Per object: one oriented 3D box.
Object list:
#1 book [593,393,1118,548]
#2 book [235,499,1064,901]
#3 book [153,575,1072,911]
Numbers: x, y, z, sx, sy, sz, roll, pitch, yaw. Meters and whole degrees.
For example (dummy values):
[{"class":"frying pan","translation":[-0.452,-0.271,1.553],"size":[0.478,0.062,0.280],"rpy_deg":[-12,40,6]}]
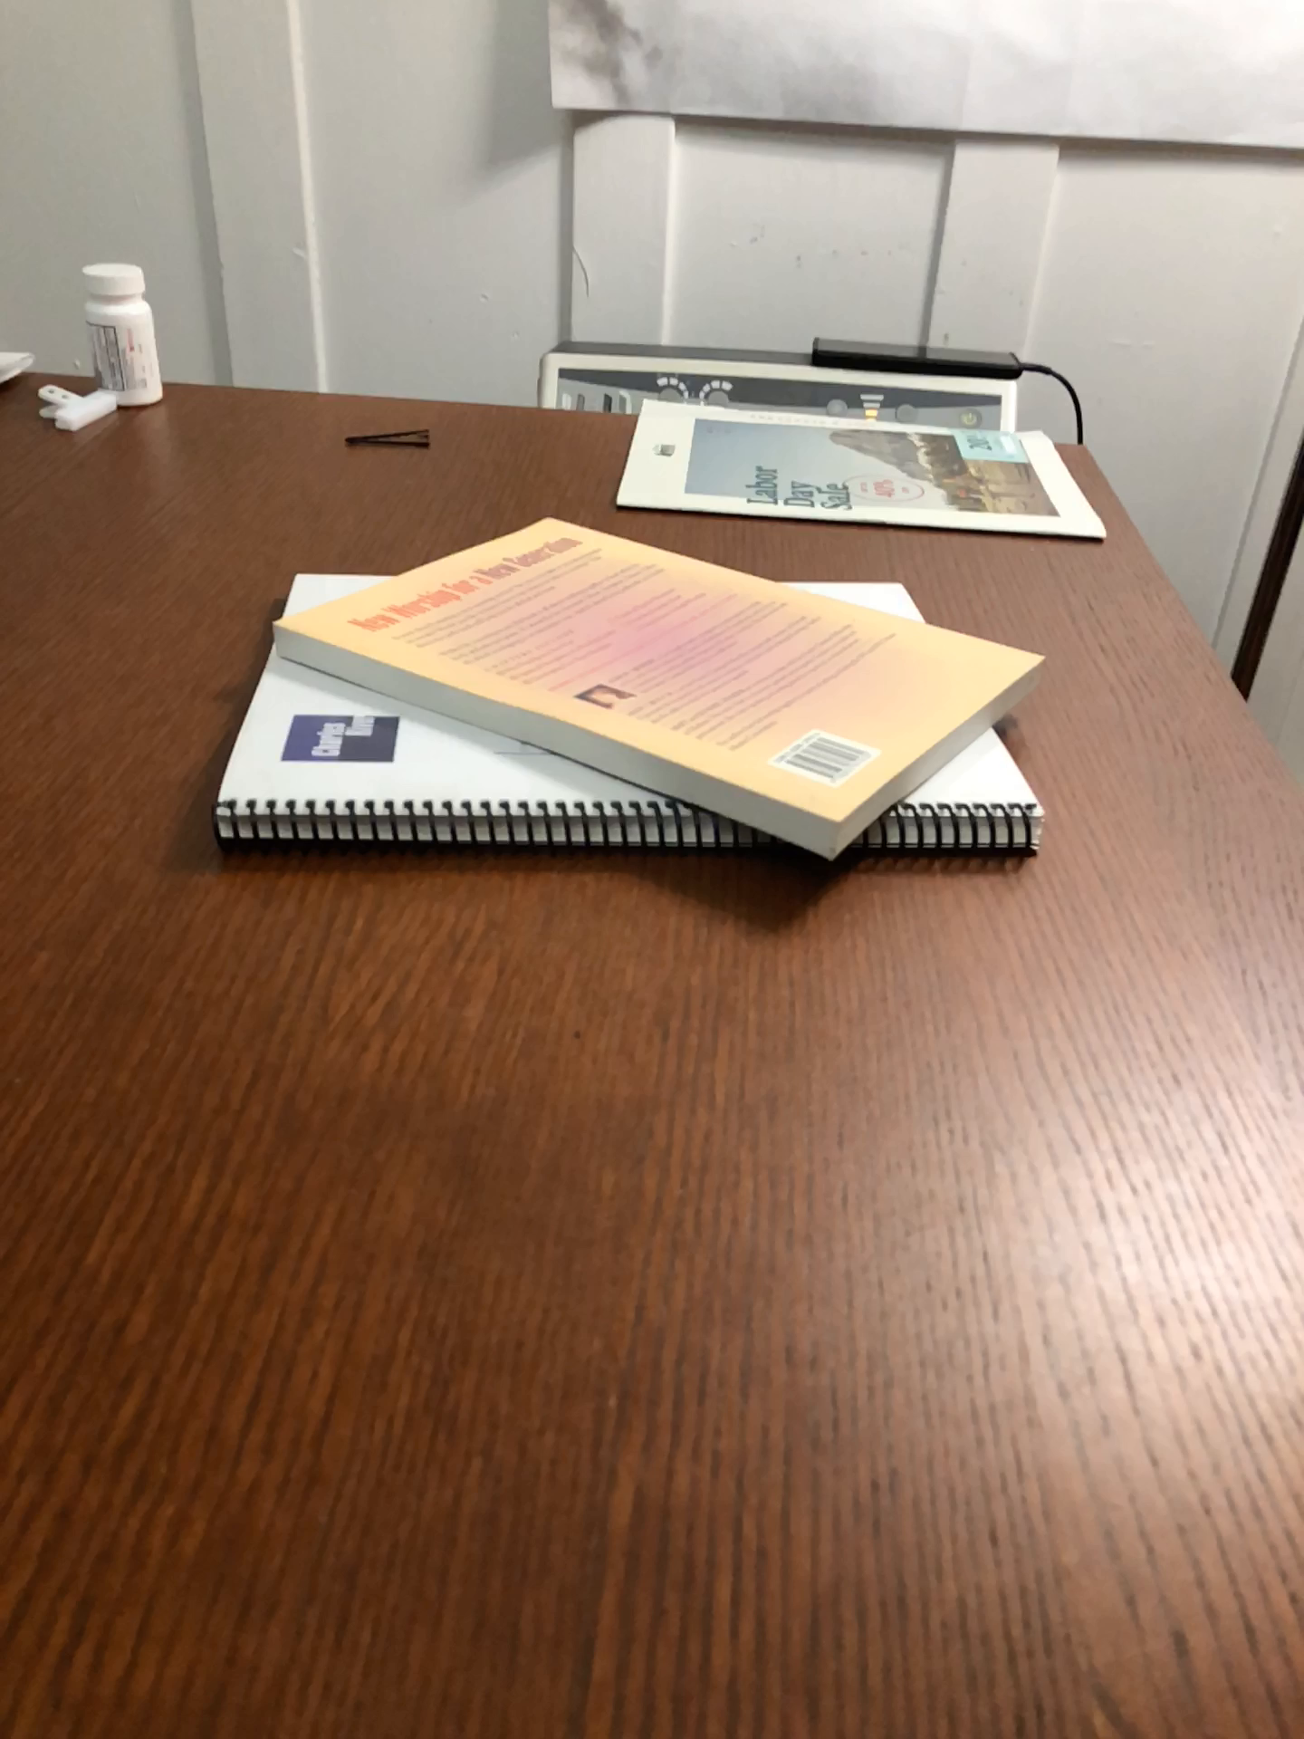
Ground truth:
[{"class":"book","translation":[0.109,-0.234,0.823],"size":[0.270,0.010,0.201],"rpy_deg":[4,33,1]},{"class":"book","translation":[0.001,-0.083,0.560],"size":[0.260,0.020,0.191],"rpy_deg":[22,37,26]},{"class":"book","translation":[-0.018,-0.059,0.552],"size":[0.290,0.020,0.231],"rpy_deg":[0,33,-6]}]
